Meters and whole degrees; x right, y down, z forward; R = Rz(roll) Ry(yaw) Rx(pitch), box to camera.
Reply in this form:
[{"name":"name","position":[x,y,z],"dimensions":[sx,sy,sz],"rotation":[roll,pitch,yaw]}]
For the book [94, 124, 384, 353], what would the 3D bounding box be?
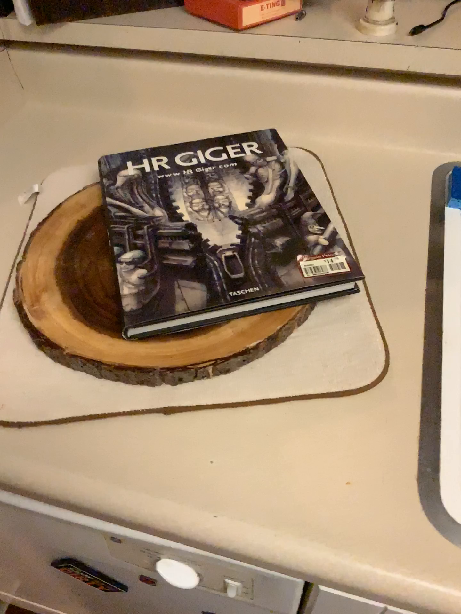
[{"name":"book","position":[-0.015,-0.109,0.626],"dimensions":[0.270,0.030,0.330],"rotation":[-12,48,-8]}]
